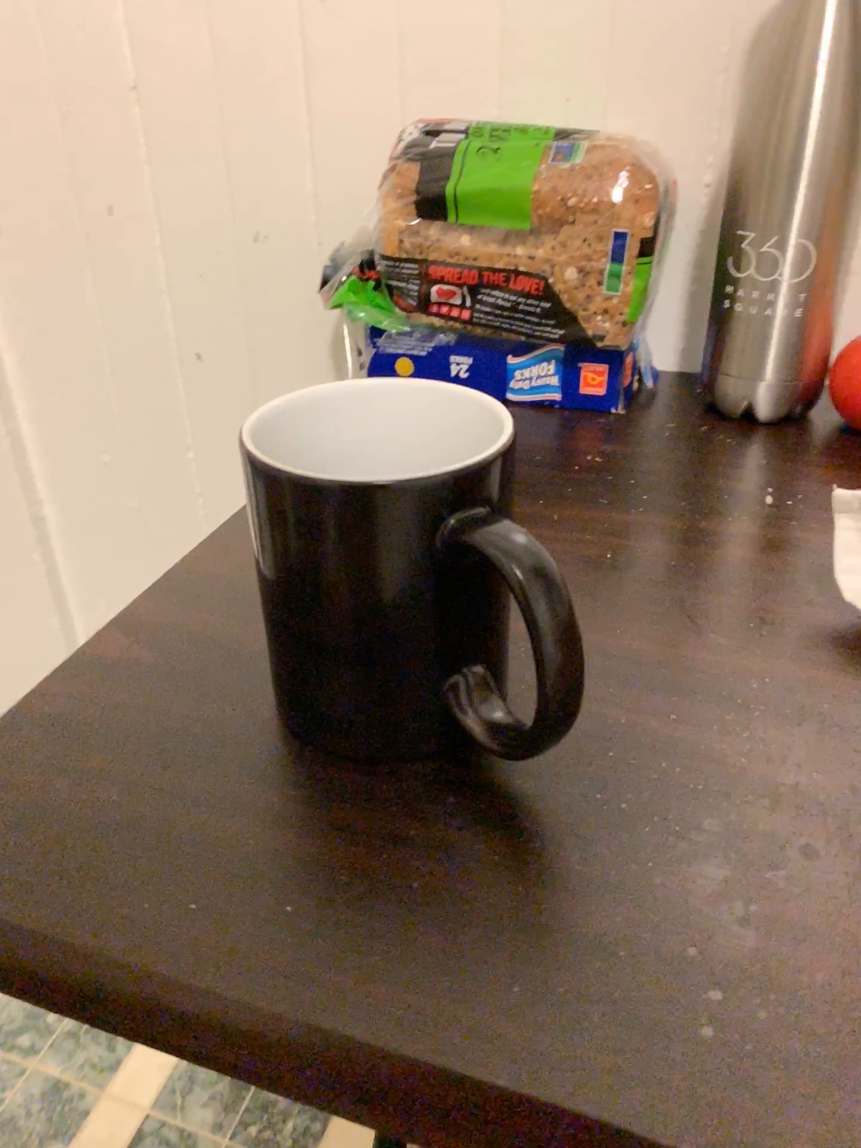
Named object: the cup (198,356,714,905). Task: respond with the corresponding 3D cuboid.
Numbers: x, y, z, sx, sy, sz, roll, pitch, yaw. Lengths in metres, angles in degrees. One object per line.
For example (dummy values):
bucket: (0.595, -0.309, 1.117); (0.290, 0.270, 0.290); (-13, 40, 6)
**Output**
cup: (0.001, 0.005, 0.274); (0.080, 0.099, 0.131); (-23, 37, -31)
